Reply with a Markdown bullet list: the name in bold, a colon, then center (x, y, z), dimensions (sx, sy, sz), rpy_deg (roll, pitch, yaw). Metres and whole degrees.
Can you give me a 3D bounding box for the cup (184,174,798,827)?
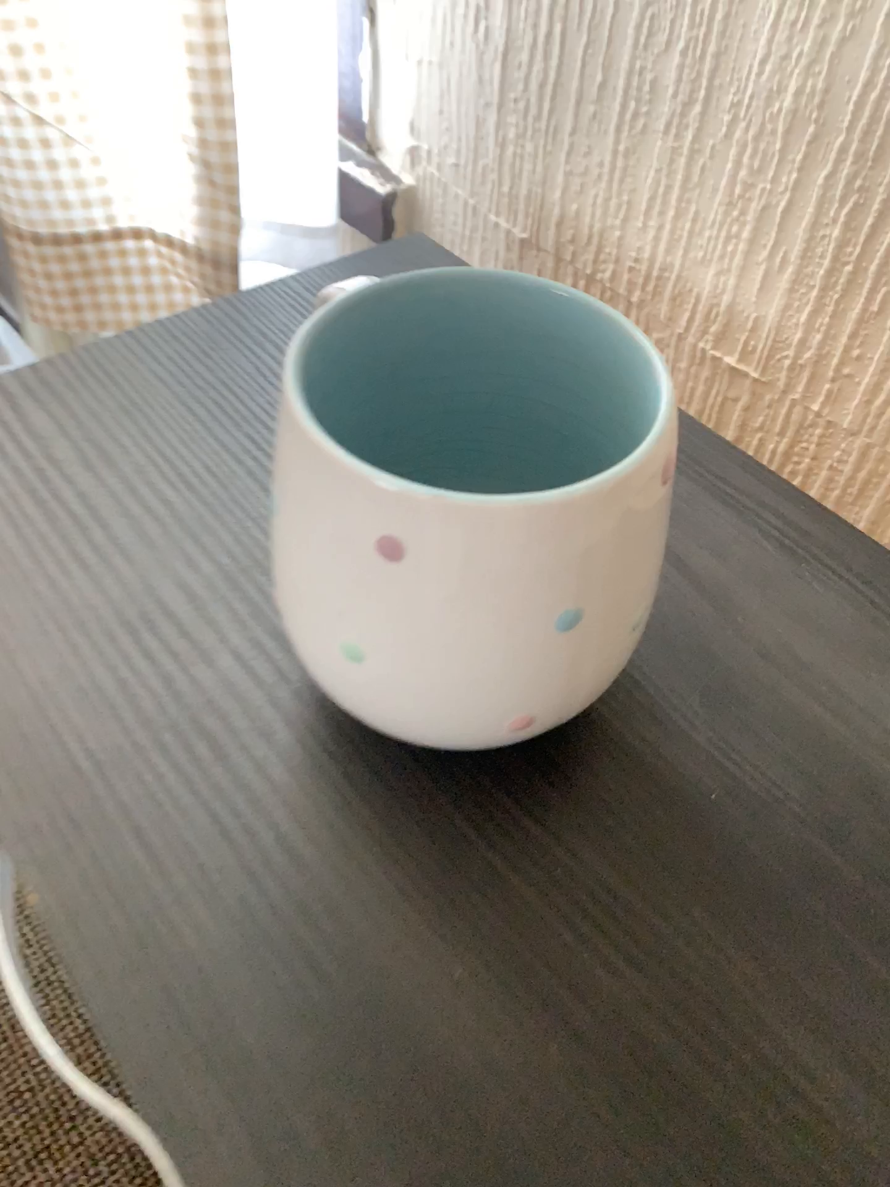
- **cup**: center (0.000, -0.032, 0.252), dimensions (0.100, 0.099, 0.131), rpy_deg (-15, 51, -17)
